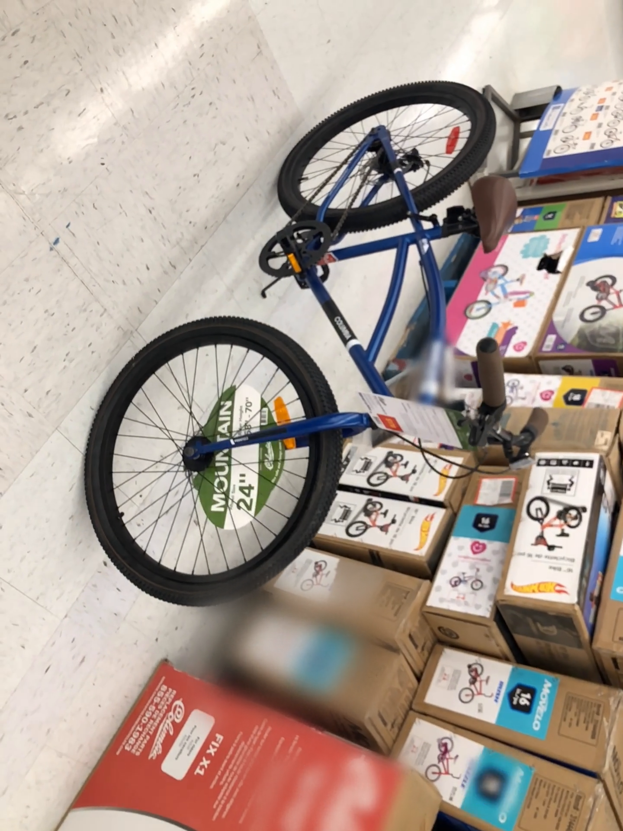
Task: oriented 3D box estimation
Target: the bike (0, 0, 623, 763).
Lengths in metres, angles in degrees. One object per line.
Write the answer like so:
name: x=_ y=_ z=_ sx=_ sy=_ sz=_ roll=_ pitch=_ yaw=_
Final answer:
bike: x=0.184 y=-0.254 z=1.590 sx=0.651 sy=0.928 sz=1.554 roll=49 pitch=56 yaw=-44
